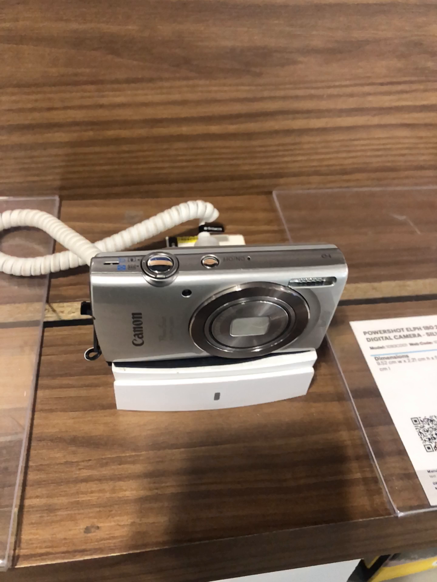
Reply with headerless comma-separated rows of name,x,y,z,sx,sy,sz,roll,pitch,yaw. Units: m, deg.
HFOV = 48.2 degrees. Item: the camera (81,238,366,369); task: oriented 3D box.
camera,0.001,0.006,0.195,0.100,0.050,0.020,-3,48,-7
